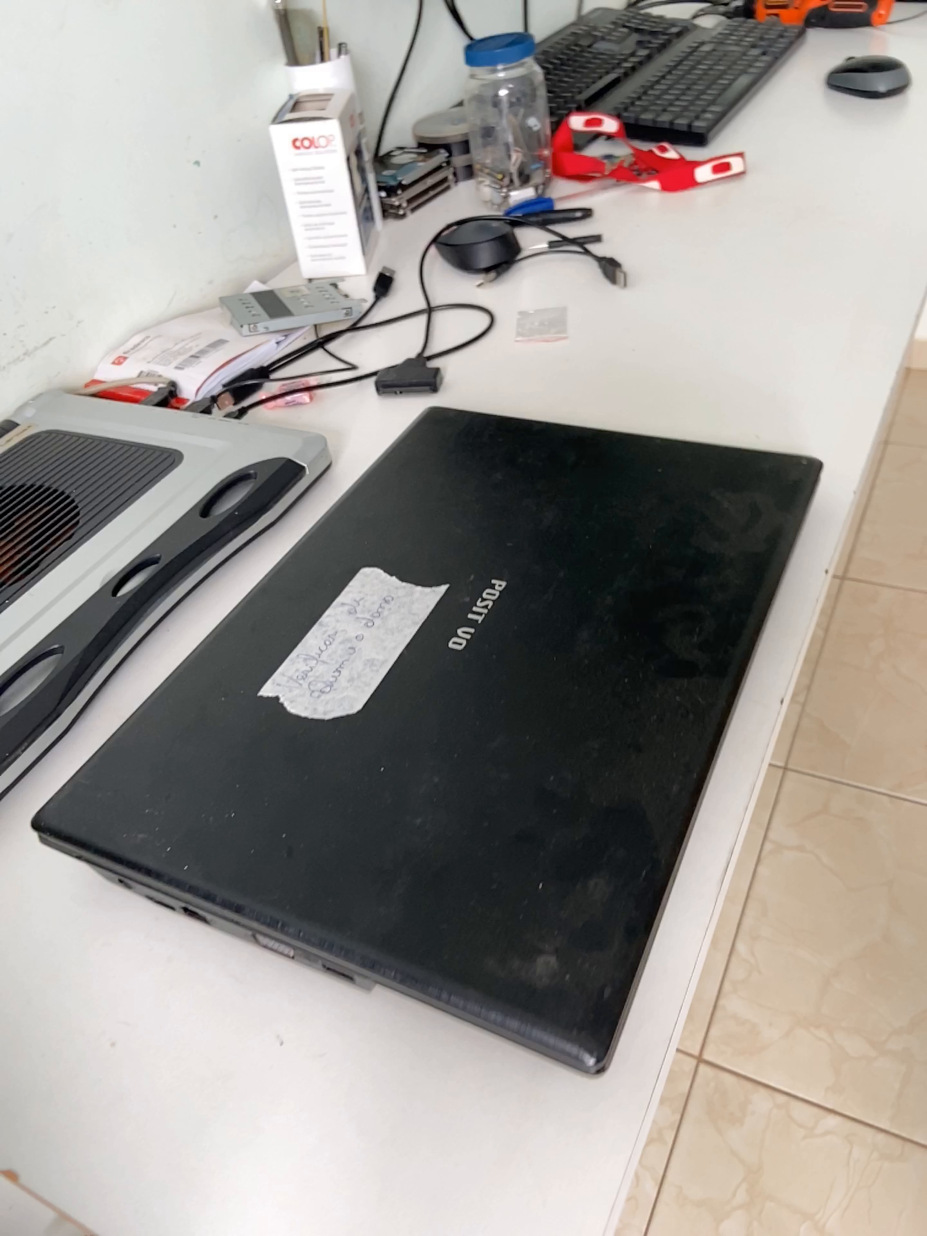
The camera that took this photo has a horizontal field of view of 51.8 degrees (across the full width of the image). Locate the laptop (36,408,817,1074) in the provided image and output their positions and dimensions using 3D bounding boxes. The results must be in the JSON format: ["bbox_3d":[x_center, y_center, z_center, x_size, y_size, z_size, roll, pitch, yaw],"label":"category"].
[{"bbox_3d":[0.008,0.003,0.436,0.233,0.008,0.330,13,45,23],"label":"laptop"}]
